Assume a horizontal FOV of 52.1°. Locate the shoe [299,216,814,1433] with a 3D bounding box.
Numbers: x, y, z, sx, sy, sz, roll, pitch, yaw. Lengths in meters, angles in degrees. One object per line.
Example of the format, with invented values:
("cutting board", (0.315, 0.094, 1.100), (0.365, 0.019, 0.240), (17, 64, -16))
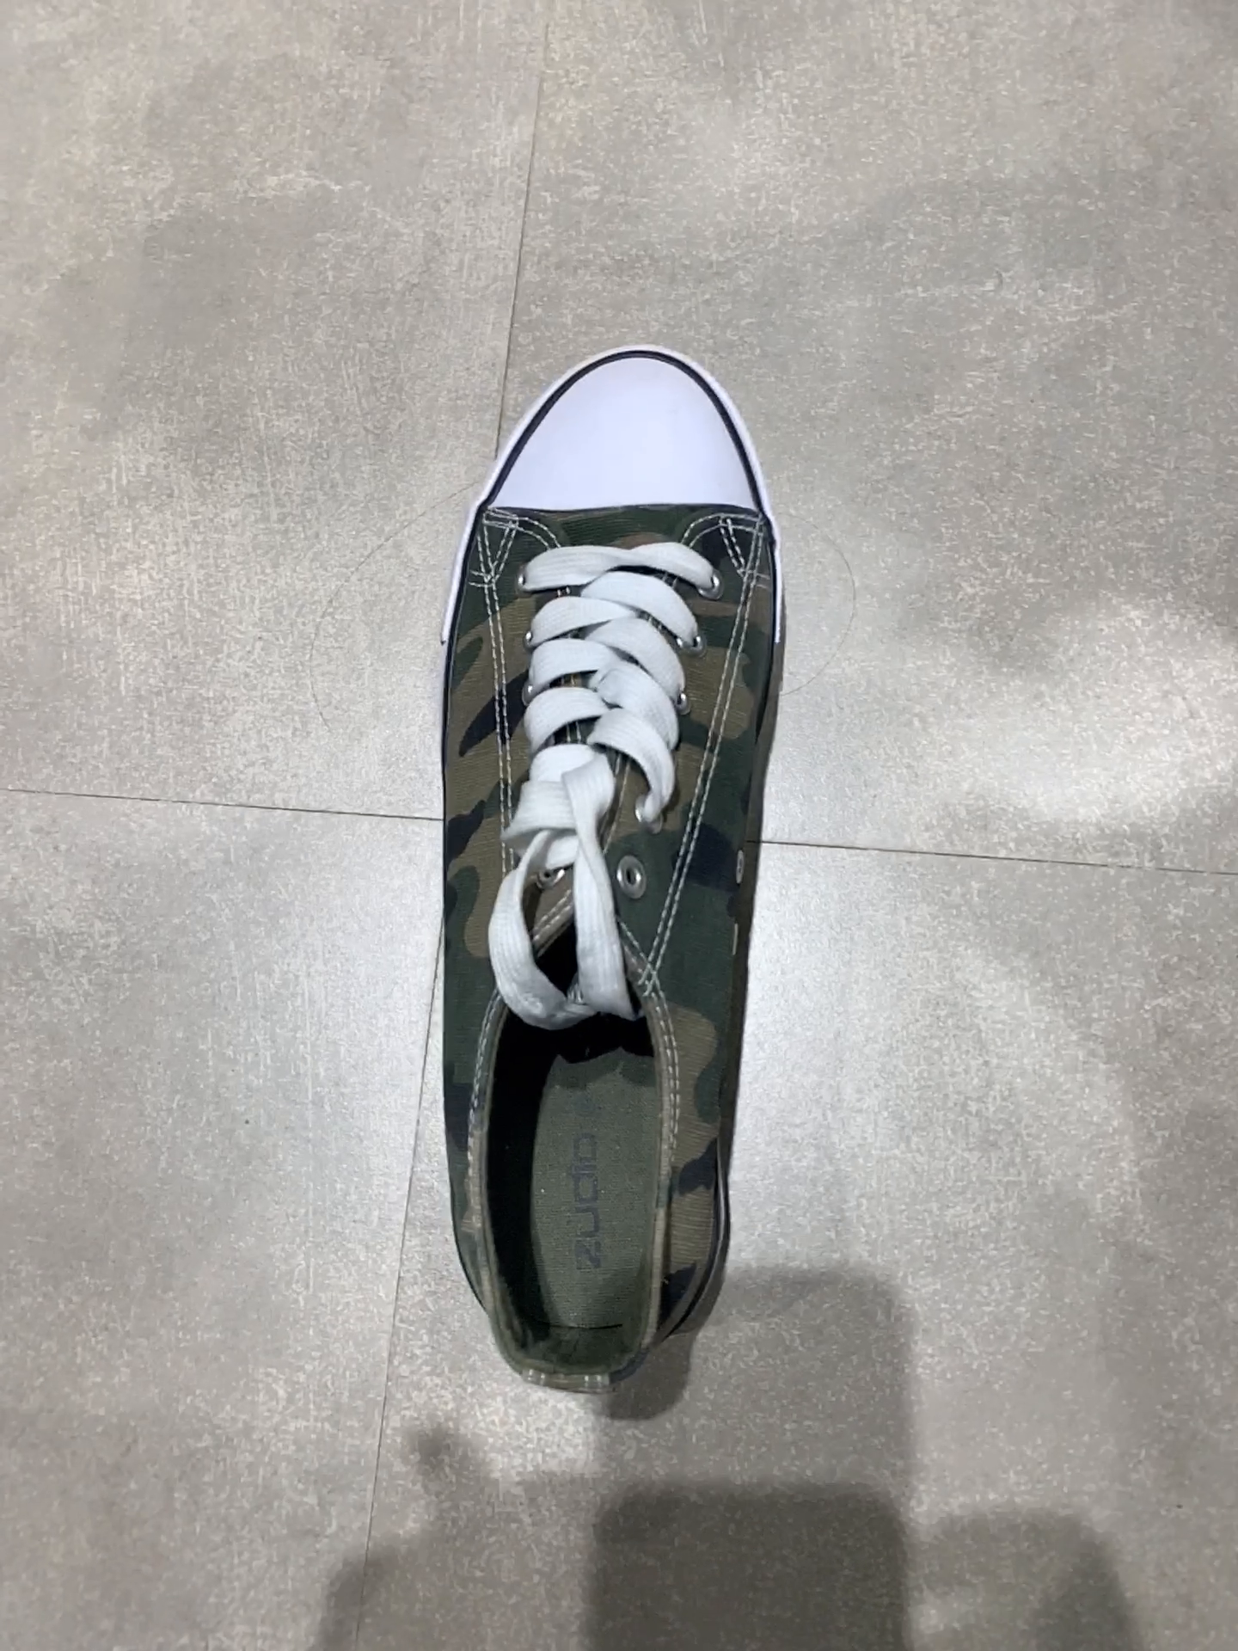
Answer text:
("shoe", (-0.006, -0.007, 0.311), (0.099, 0.079, 0.266), (1, 77, 4))
